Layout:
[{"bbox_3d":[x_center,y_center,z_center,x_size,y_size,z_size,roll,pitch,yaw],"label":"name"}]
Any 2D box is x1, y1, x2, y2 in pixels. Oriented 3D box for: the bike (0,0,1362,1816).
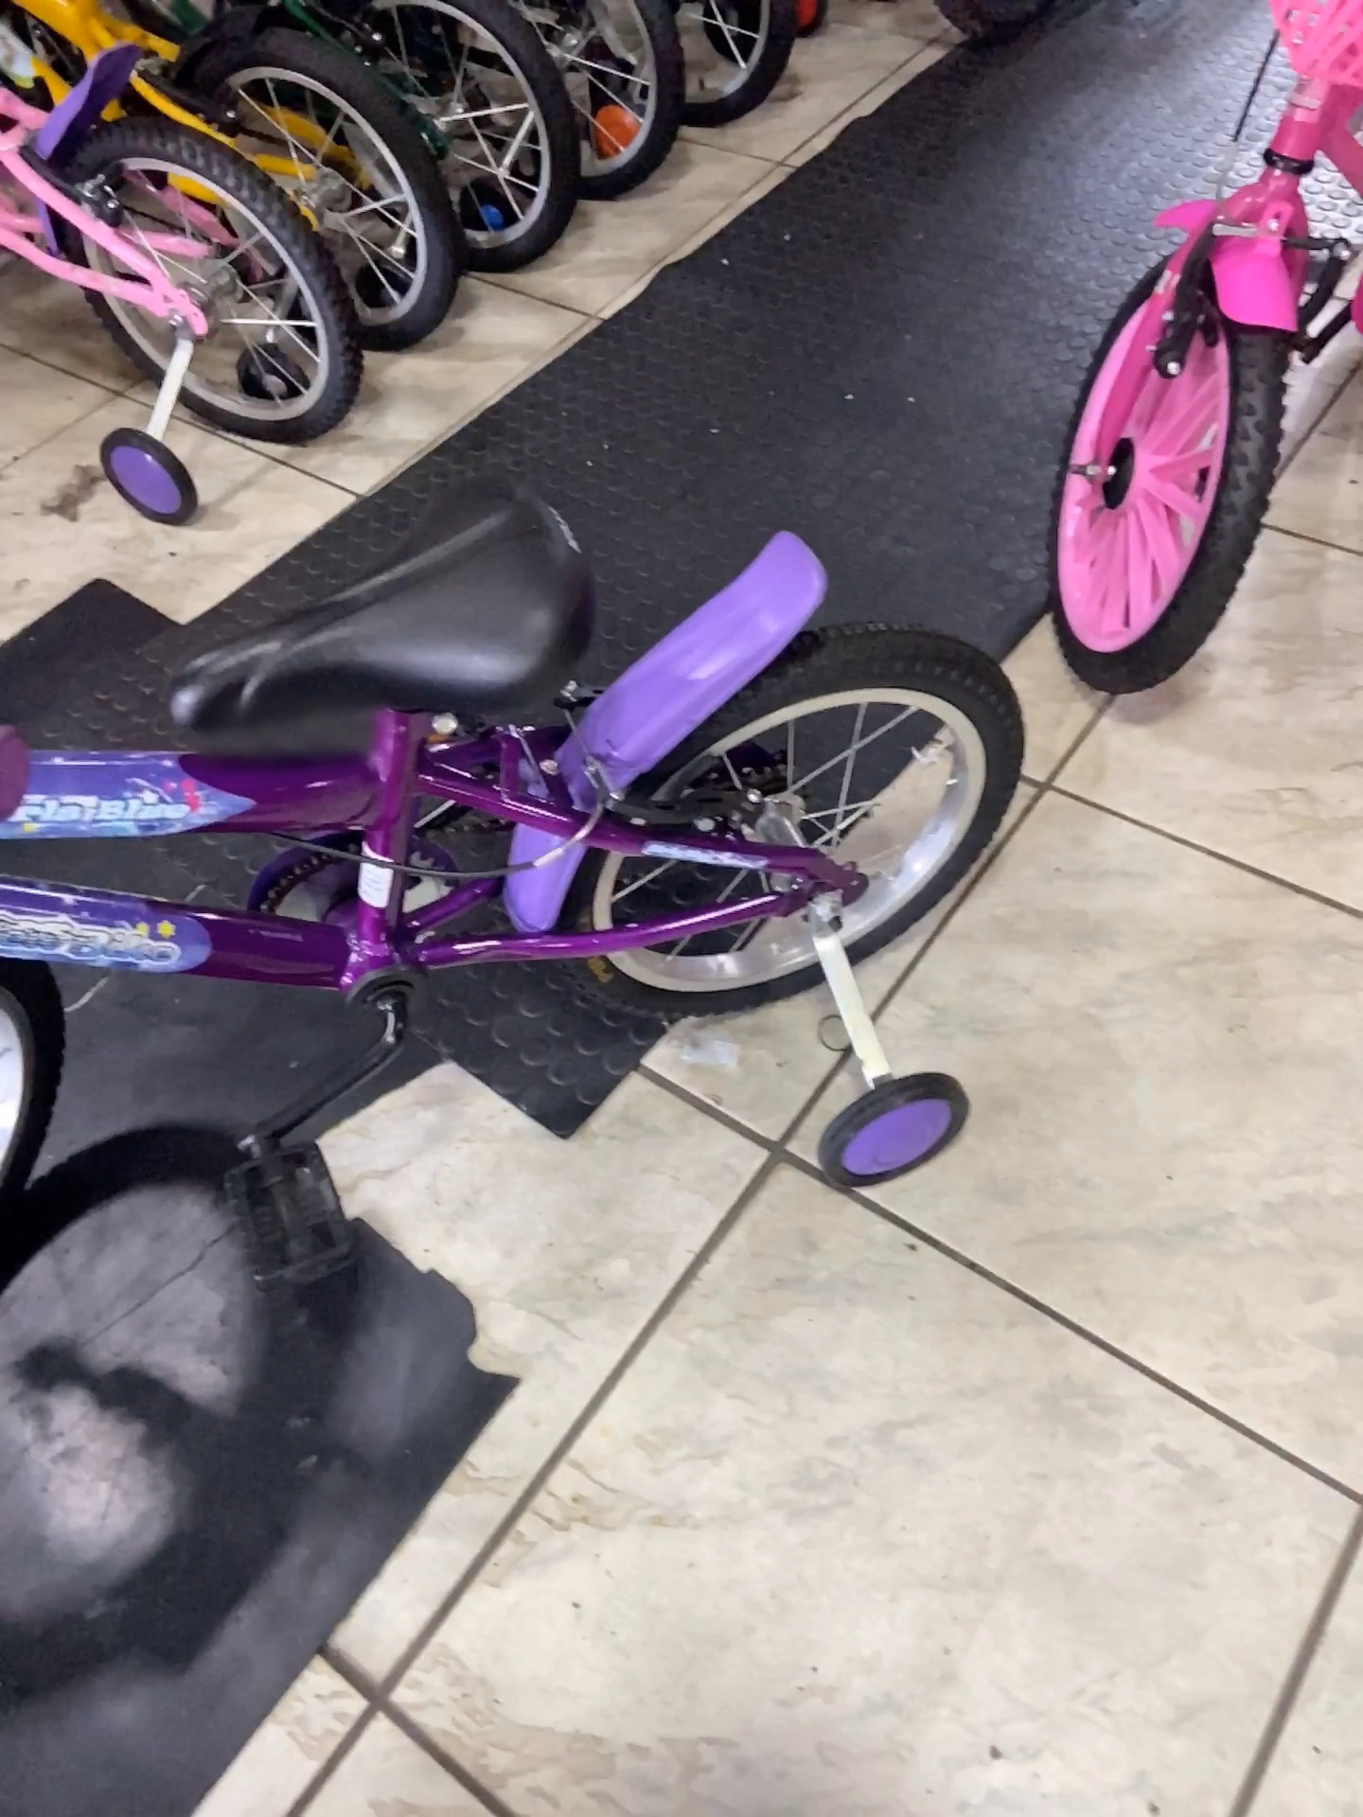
[{"bbox_3d":[-0.216,-0.033,0.773,0.971,0.742,0.449,-28,53,-15],"label":"bike"}]
